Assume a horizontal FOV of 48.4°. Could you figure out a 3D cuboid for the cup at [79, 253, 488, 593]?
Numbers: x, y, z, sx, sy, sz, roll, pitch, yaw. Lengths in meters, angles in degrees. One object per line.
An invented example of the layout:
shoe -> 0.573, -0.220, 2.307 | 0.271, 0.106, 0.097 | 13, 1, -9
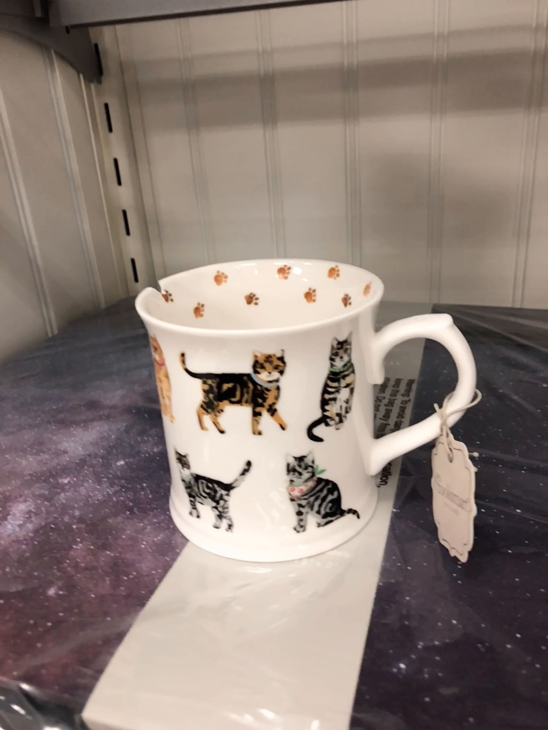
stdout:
cup -> 0.013, 0.014, 0.260 | 0.137, 0.099, 0.096 | 2, 25, 15
